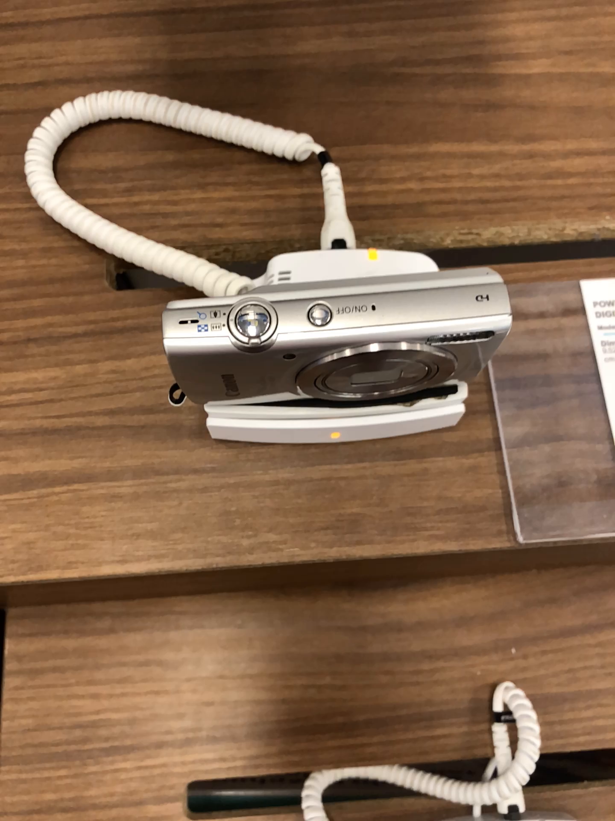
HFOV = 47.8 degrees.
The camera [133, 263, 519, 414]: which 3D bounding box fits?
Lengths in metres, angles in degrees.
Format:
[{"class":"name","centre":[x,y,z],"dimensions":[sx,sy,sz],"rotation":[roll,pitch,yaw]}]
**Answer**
[{"class":"camera","centre":[0.005,-0.019,0.212],"dimensions":[0.100,0.060,0.020],"rotation":[-4,77,-1]}]
